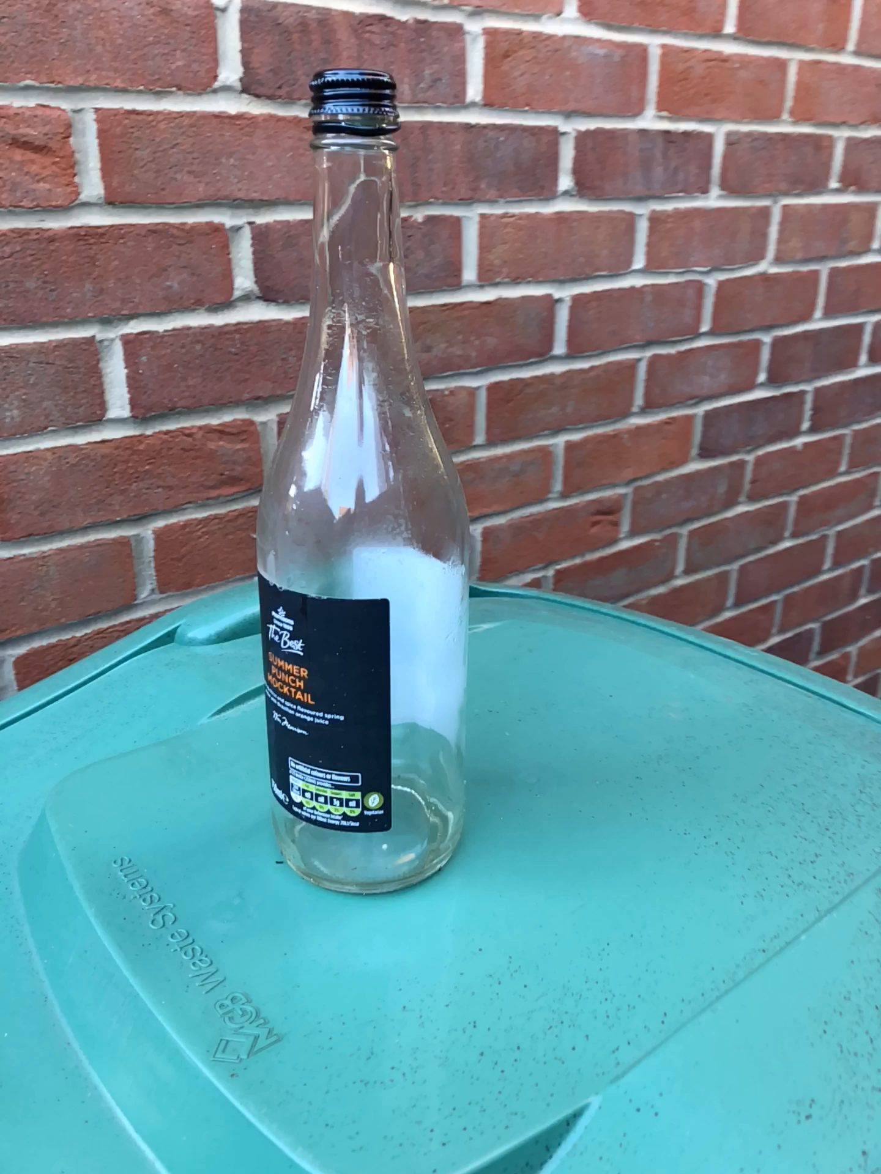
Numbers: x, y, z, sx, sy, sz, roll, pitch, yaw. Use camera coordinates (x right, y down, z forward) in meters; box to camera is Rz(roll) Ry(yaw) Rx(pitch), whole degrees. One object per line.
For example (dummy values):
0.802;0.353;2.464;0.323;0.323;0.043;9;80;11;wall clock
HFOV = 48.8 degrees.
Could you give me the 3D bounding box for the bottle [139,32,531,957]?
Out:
-0.032;-0.026;0.348;0.080;0.288;0.090;-20;29;-41;bottle
